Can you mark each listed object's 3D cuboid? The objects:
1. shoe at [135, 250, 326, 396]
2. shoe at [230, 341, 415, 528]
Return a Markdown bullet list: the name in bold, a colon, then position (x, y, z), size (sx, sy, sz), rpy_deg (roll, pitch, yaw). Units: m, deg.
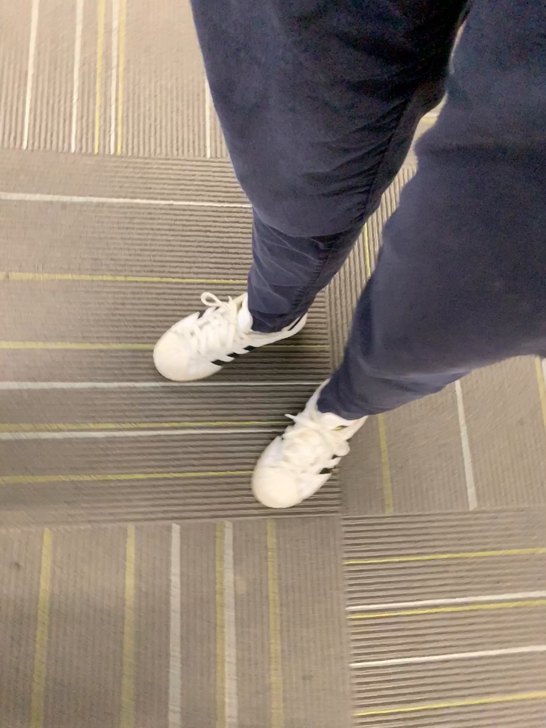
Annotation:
- **shoe**: position (-0.066, -0.062, 0.859), size (0.258, 0.104, 0.105), rpy_deg (-25, 80, -14)
- **shoe**: position (0.072, 0.105, 0.828), size (0.108, 0.104, 0.262), rpy_deg (45, 73, 5)
